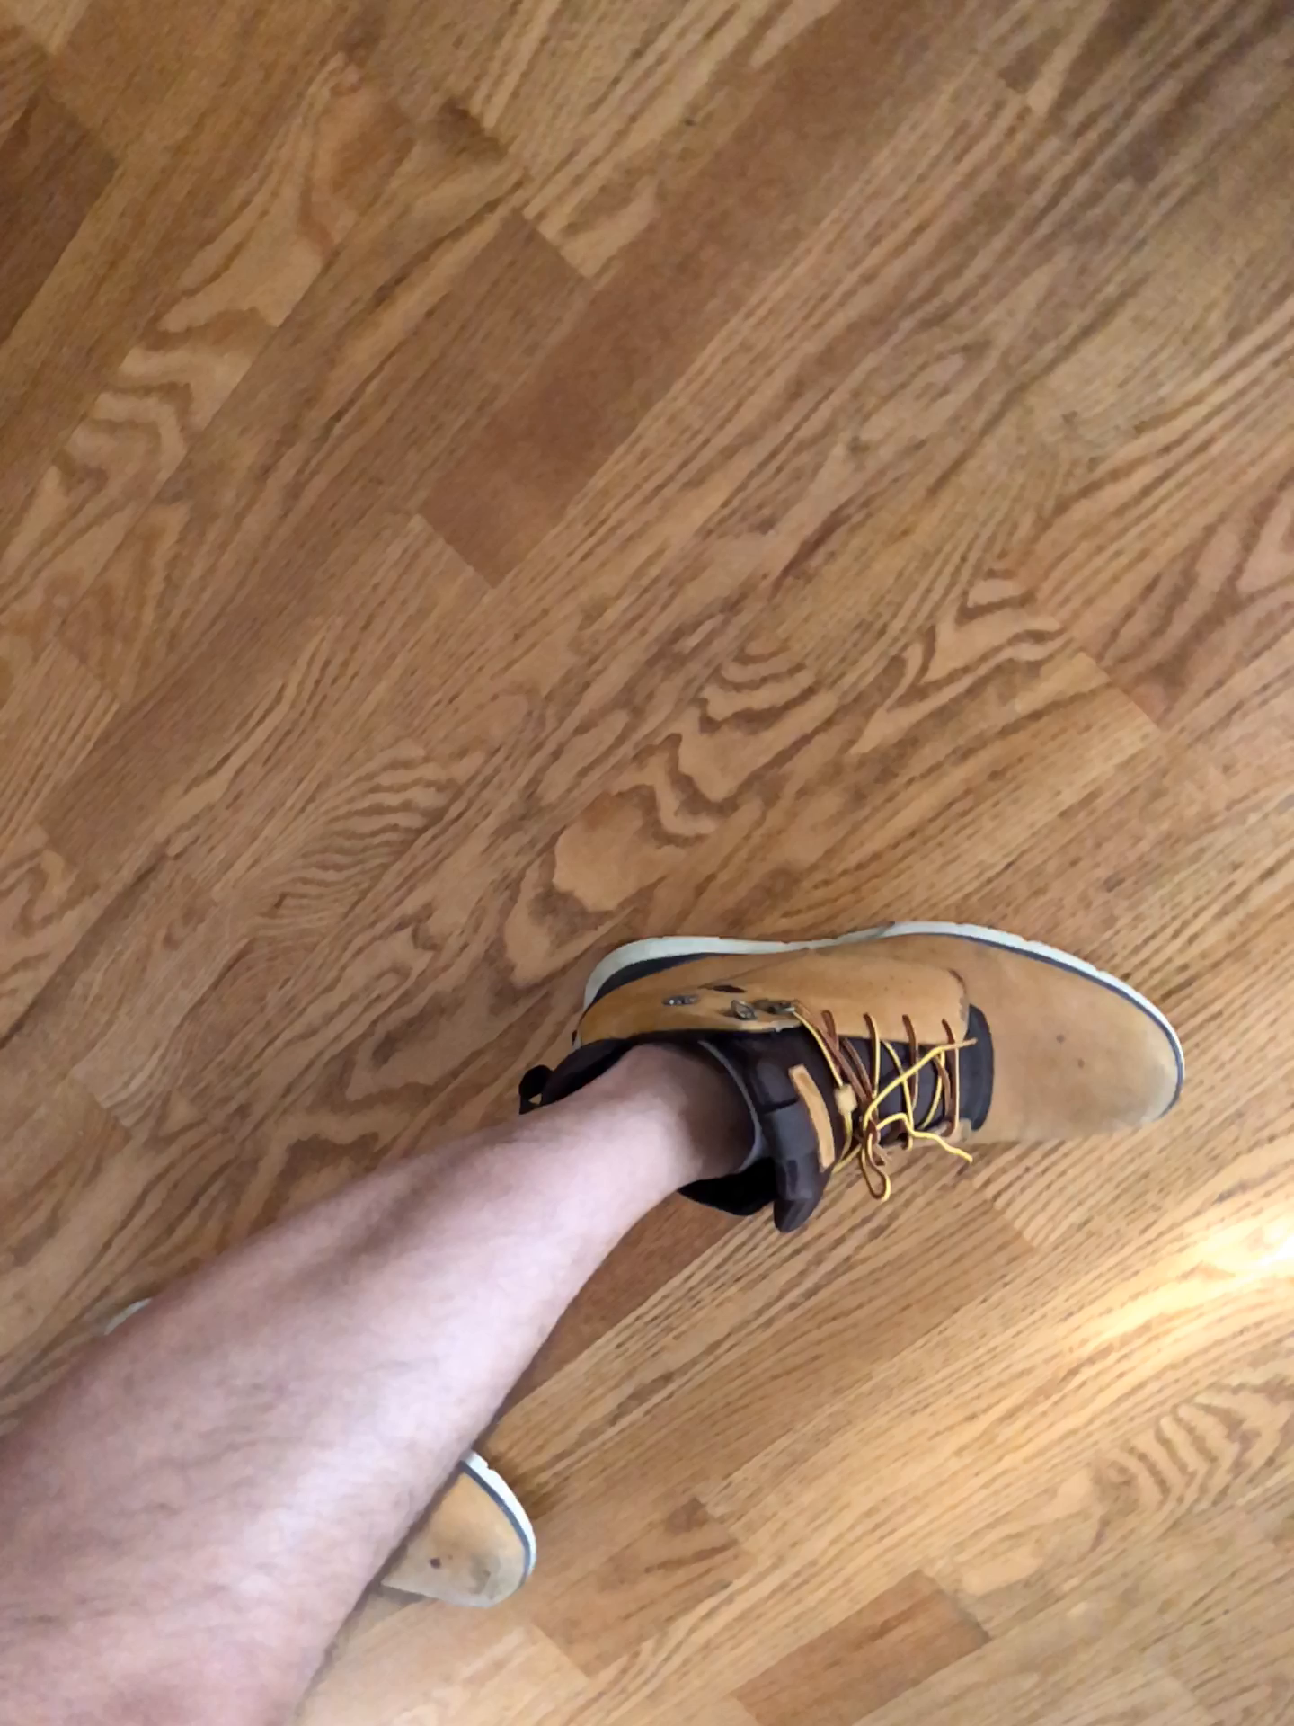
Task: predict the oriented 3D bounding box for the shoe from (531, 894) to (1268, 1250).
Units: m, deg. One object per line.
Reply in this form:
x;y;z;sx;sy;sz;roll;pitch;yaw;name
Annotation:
0.109;0.095;0.688;0.310;0.150;0.120;-1;105;2;shoe
